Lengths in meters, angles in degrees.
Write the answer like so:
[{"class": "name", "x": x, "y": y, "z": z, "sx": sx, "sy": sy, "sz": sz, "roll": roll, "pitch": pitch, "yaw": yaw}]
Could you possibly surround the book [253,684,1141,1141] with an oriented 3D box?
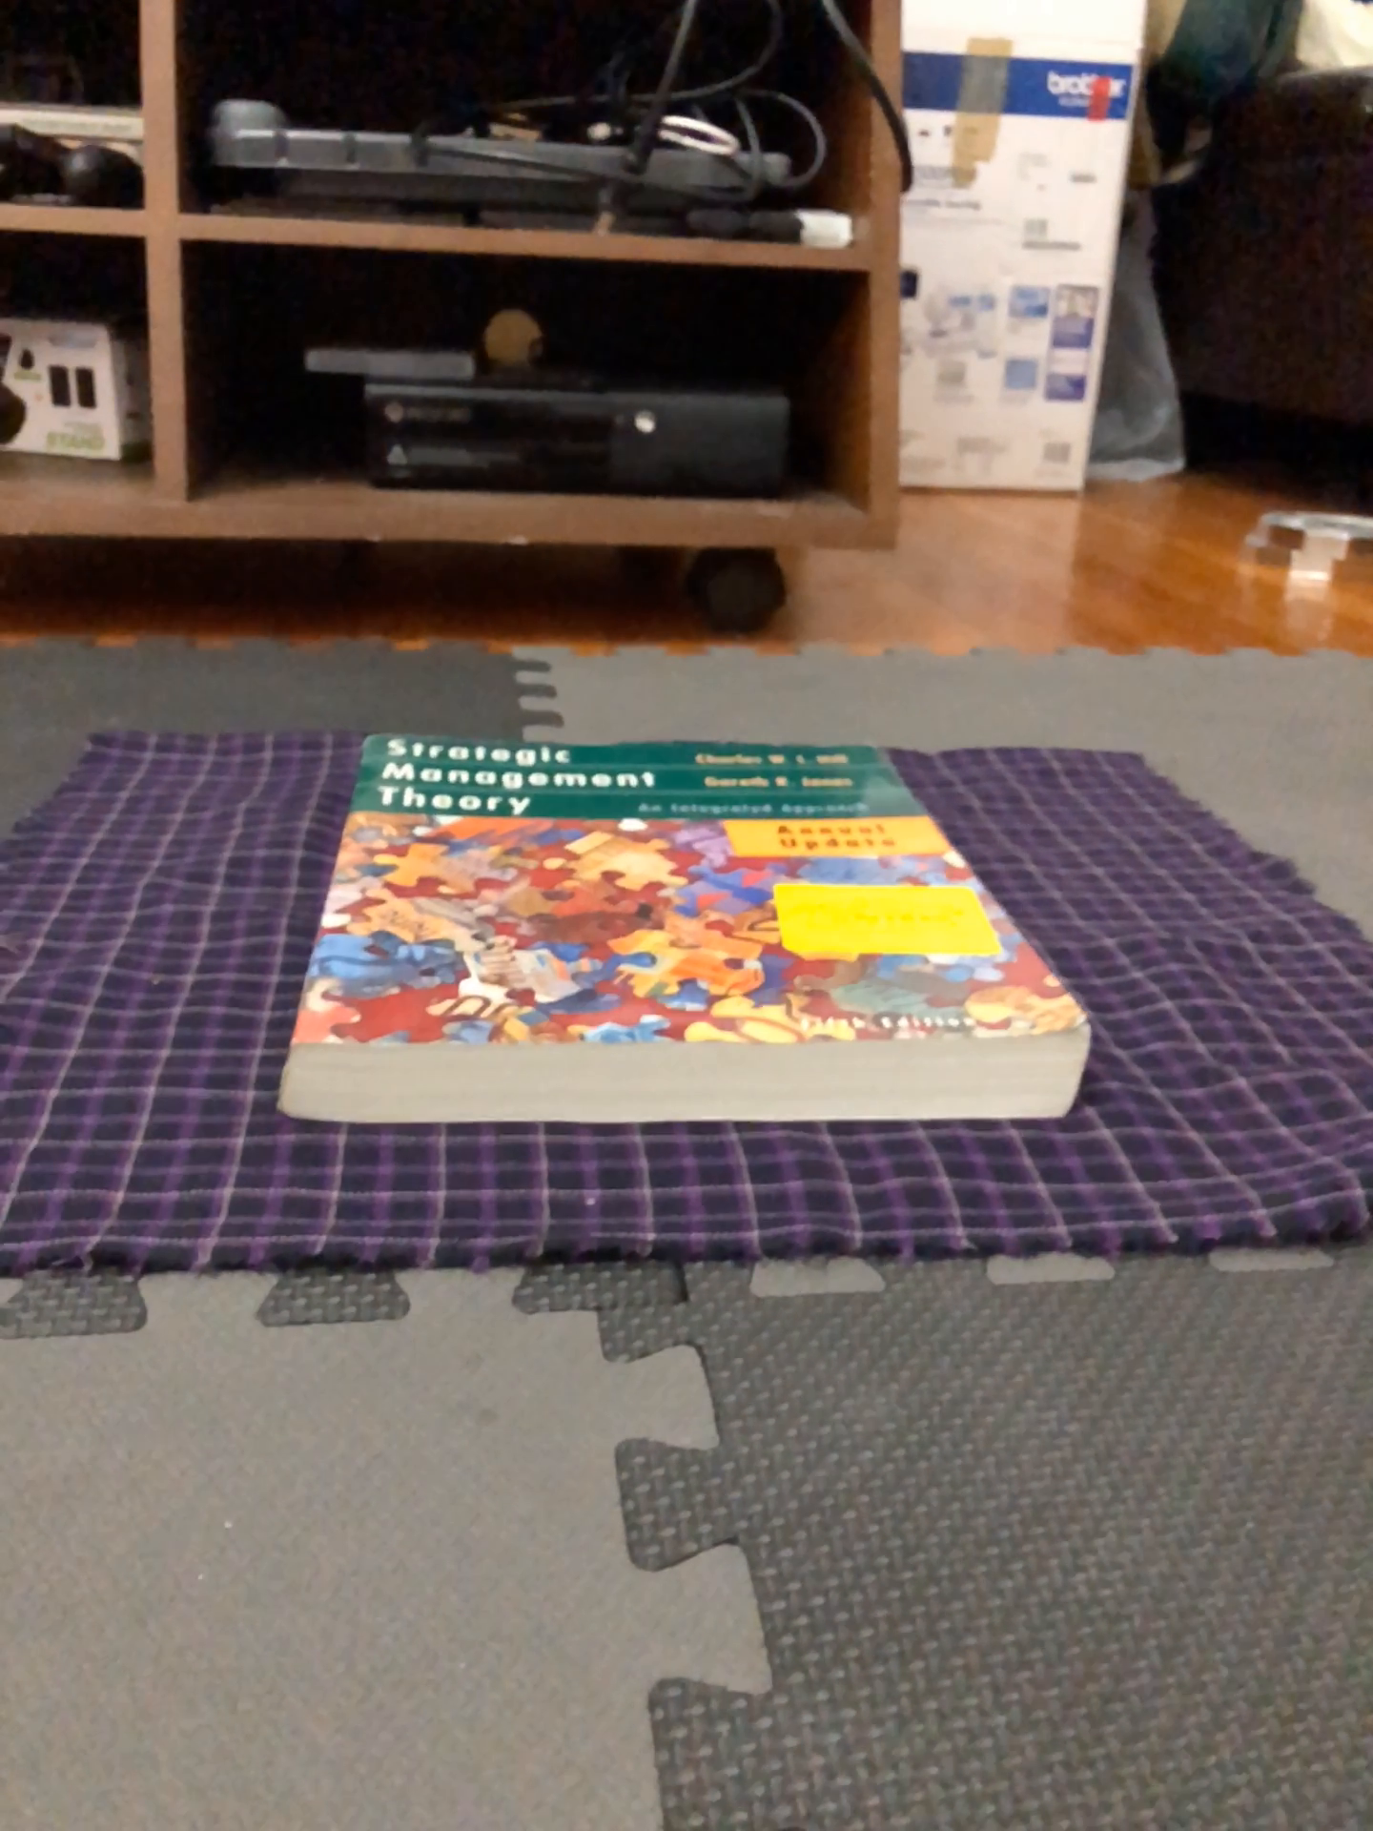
[{"class": "book", "x": -0.008, "y": -0.020, "z": 0.527, "sx": 0.230, "sy": 0.040, "sz": 0.282, "roll": 0, "pitch": 25, "yaw": -6}]
